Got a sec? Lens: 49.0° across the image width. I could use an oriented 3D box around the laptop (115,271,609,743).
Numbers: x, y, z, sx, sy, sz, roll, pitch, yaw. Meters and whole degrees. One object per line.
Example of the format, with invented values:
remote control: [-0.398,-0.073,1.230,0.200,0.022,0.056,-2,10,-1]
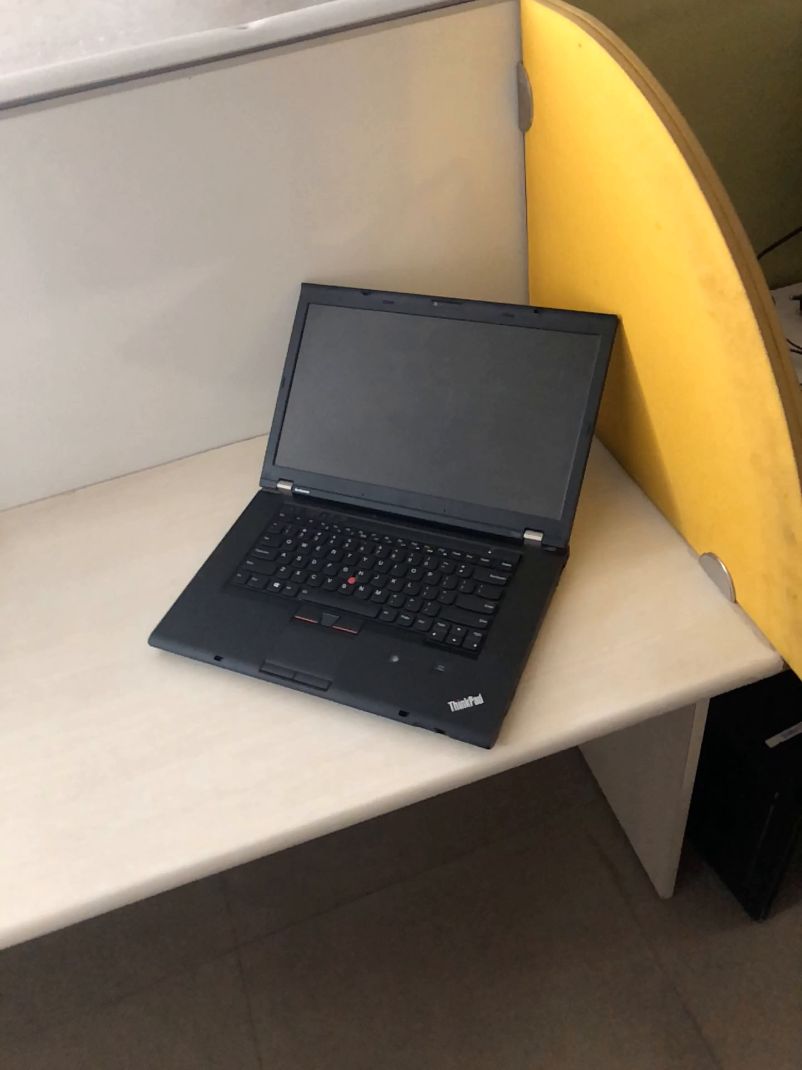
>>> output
laptop: [-0.012,-0.065,0.897,0.353,0.143,0.420,13,52,20]
